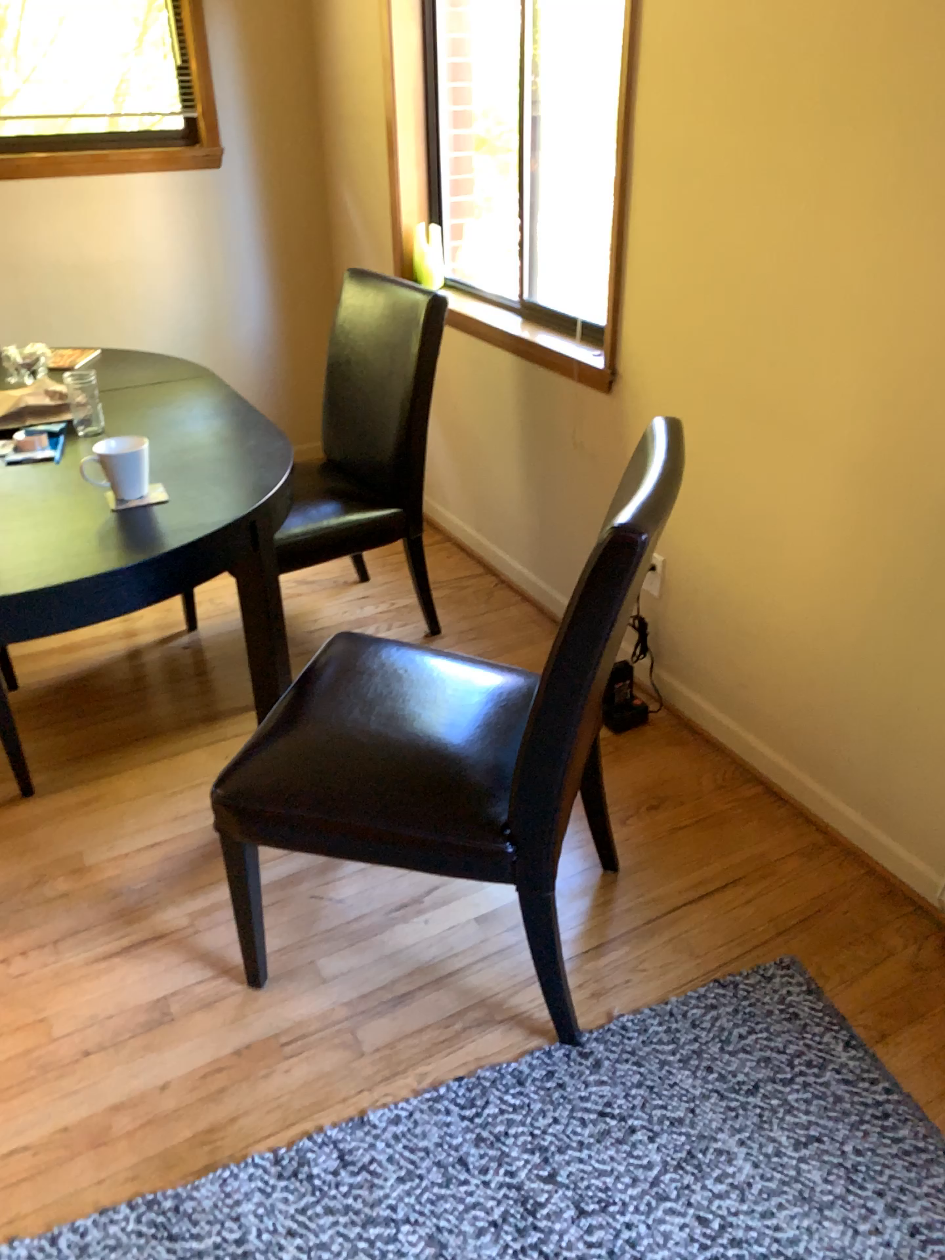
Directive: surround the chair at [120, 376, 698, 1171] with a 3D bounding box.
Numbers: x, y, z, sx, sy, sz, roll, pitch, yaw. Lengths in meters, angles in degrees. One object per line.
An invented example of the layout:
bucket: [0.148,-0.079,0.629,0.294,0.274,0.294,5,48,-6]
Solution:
chair: [-0.024,0.215,1.613,0.651,1.084,0.623,7,31,13]
